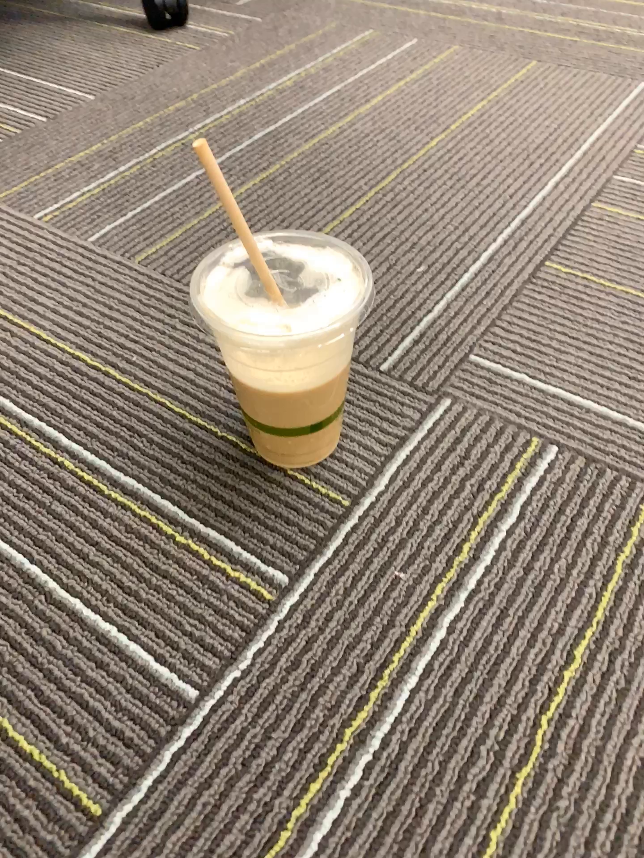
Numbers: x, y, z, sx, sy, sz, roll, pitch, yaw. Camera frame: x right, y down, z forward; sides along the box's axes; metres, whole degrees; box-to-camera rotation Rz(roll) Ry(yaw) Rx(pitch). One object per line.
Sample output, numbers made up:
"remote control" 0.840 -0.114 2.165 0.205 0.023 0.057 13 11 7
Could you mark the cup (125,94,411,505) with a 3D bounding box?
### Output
"cup" -0.023 -0.063 0.361 0.100 0.179 0.090 -22 50 -16
